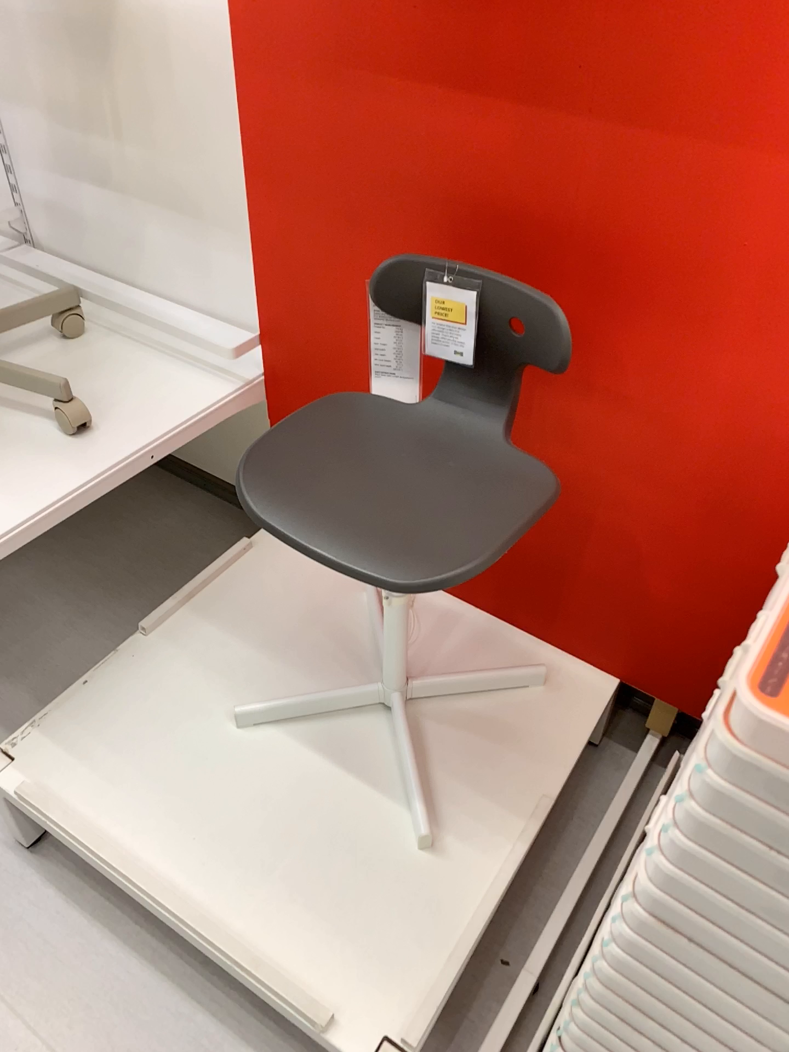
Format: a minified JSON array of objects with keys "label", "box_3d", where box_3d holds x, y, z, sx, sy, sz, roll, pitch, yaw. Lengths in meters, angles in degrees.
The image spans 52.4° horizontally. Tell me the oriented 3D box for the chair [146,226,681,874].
[{"label":"chair","box_3d":[0.030,0.030,1.168,0.461,0.697,0.451,24,45,24]}]
